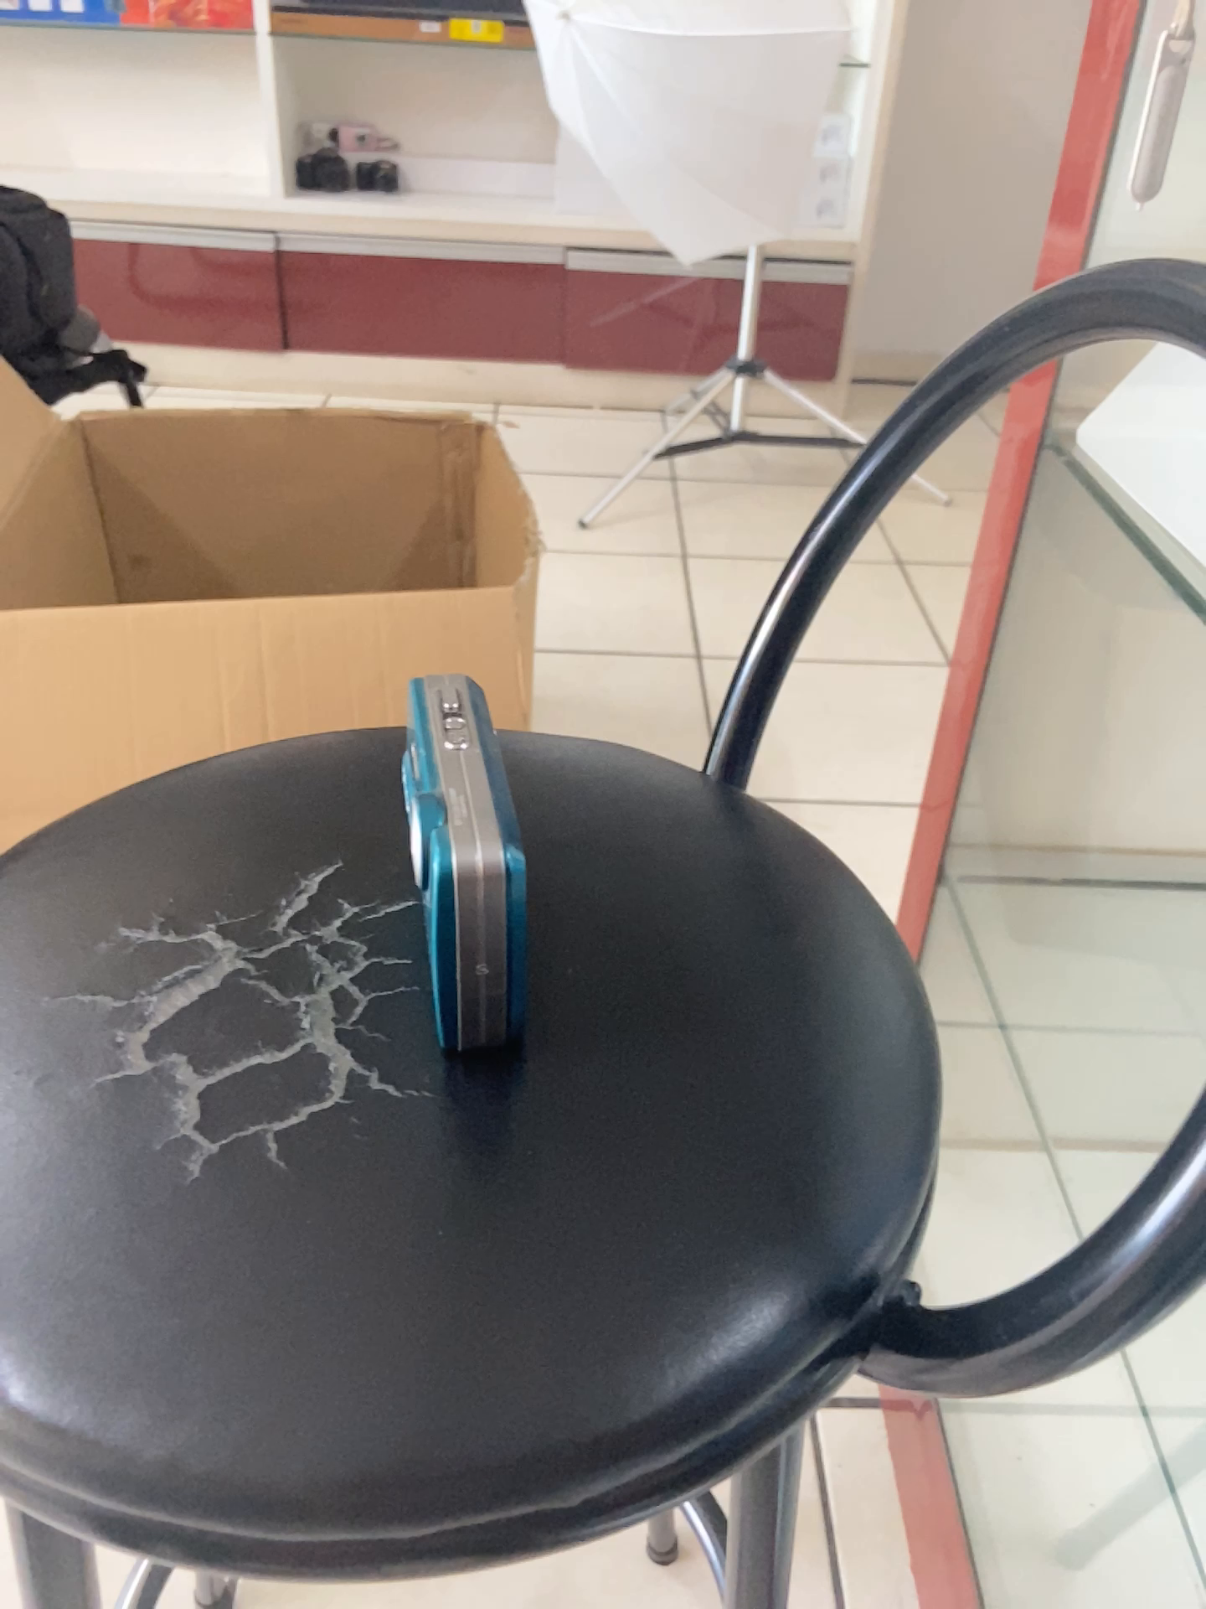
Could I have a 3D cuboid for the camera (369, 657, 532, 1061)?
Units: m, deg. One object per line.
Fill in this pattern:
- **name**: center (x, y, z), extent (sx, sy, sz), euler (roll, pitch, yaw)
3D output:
- **camera**: center (-0.040, 0.009, 0.311), extent (0.030, 0.050, 0.101), euler (-4, 34, -10)
